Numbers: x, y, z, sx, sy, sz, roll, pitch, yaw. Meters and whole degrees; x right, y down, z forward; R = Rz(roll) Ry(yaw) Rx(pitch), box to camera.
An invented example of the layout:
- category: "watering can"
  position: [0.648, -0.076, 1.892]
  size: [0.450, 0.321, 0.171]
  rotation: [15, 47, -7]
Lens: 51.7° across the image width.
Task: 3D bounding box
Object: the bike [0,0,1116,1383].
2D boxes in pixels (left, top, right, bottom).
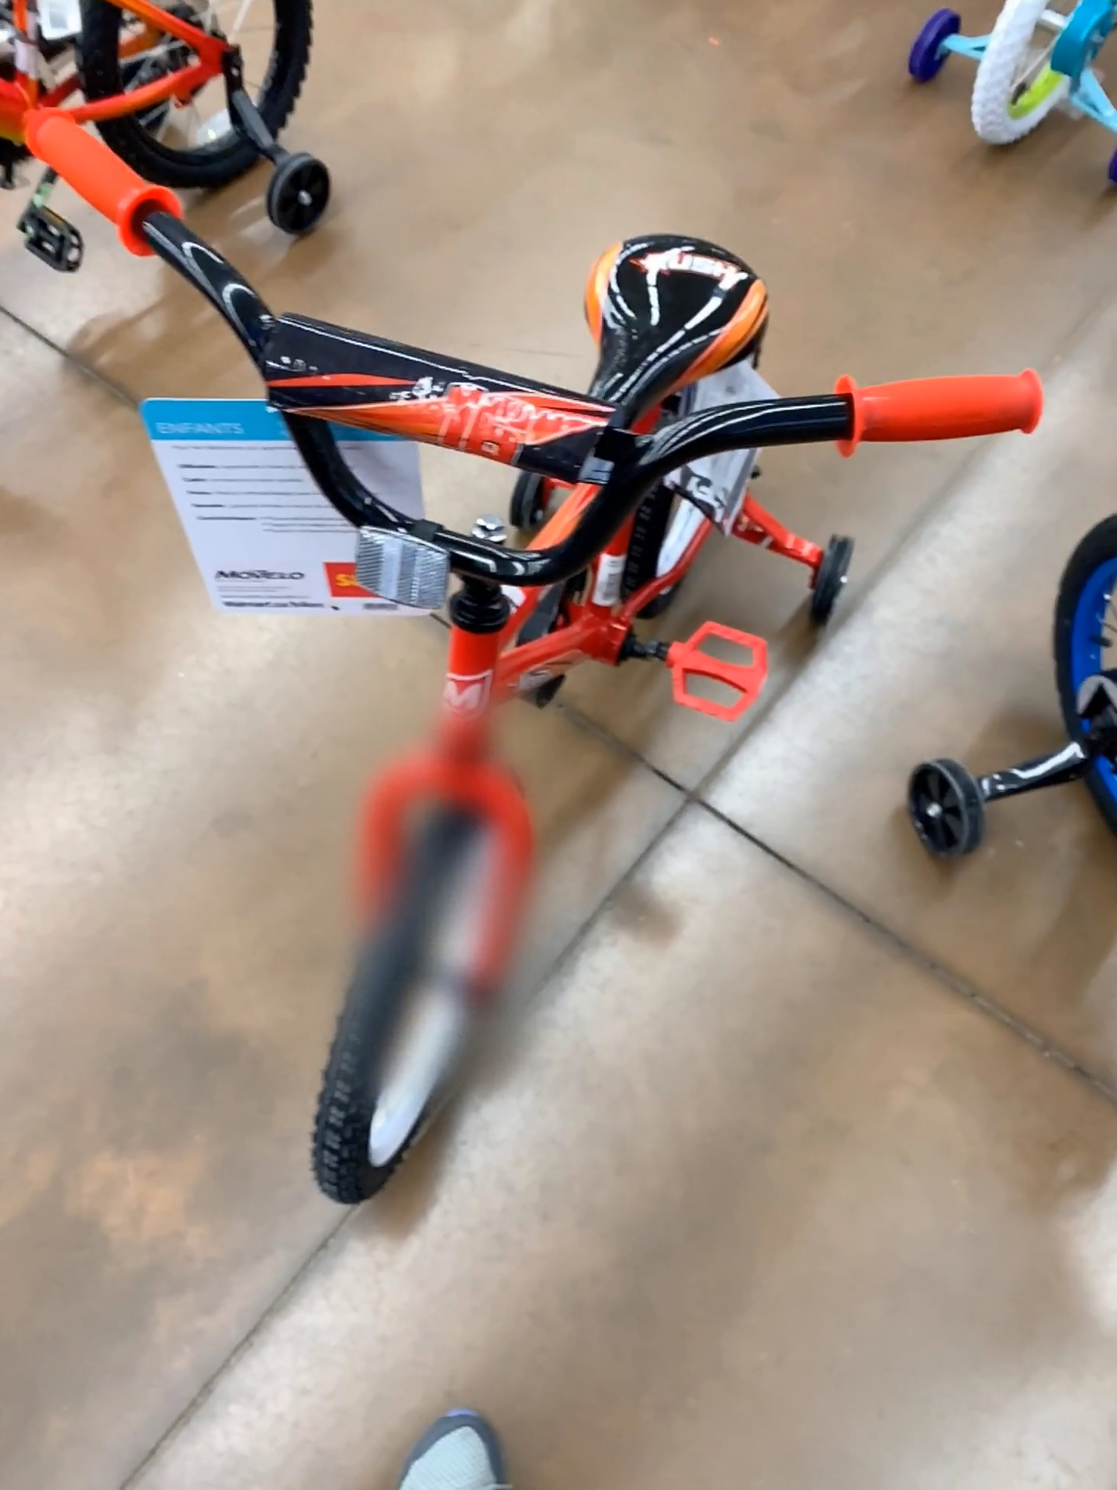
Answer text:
- category: "bike"
  position: [0.062, -0.166, 1.023]
  size: [0.515, 0.955, 1.144]
  rotation: [19, 58, 9]
